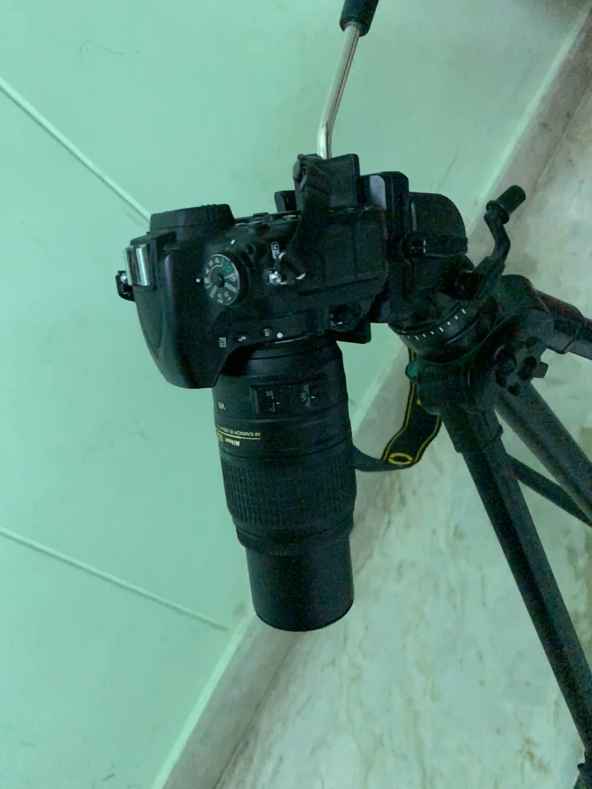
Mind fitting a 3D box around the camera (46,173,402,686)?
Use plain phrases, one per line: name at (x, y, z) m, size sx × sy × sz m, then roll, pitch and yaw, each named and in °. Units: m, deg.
camera at (-0.036, 0.004, 0.328) m, size 0.116 × 0.214 × 0.131 m, roll -16°, pitch 20°, yaw -33°
